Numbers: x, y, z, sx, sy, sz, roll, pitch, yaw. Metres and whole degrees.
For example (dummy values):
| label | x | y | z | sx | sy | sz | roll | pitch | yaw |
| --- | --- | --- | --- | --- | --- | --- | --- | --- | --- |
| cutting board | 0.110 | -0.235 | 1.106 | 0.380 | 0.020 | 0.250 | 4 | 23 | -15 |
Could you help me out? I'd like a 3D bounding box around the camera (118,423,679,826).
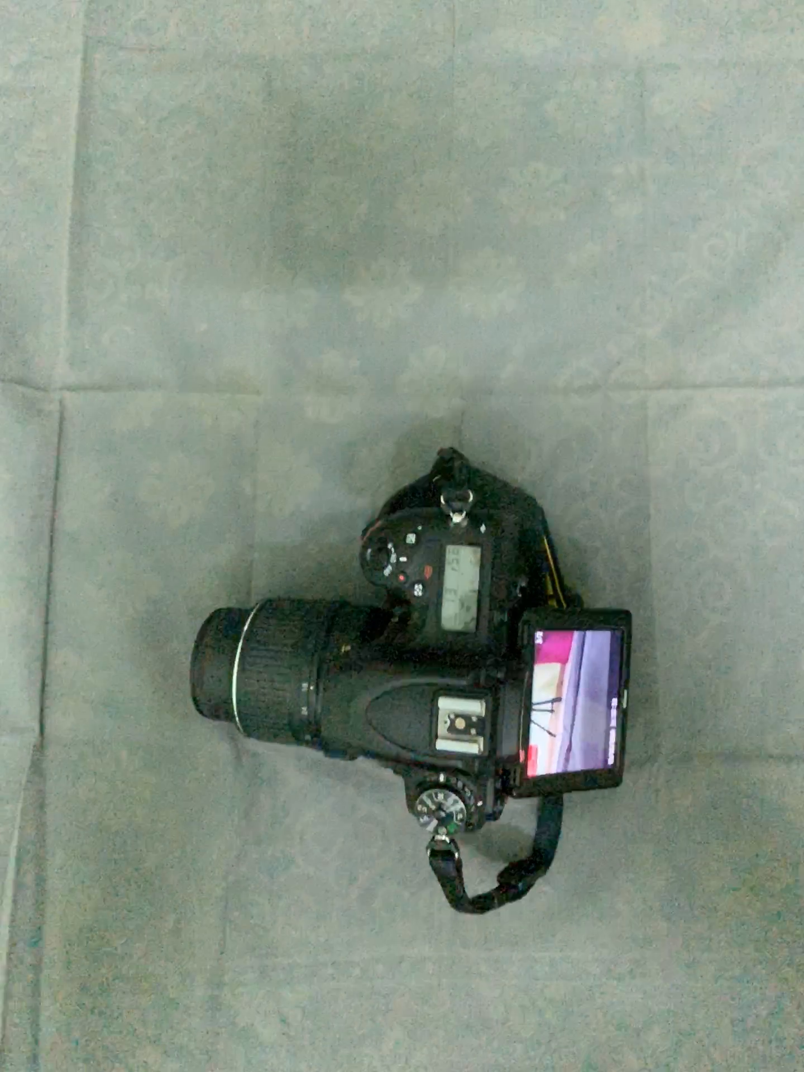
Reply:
| label | x | y | z | sx | sy | sz | roll | pitch | yaw |
| --- | --- | --- | --- | --- | --- | --- | --- | --- | --- |
| camera | -0.002 | 0.042 | 0.398 | 0.230 | 0.100 | 0.165 | -1 | 83 | 3 |
